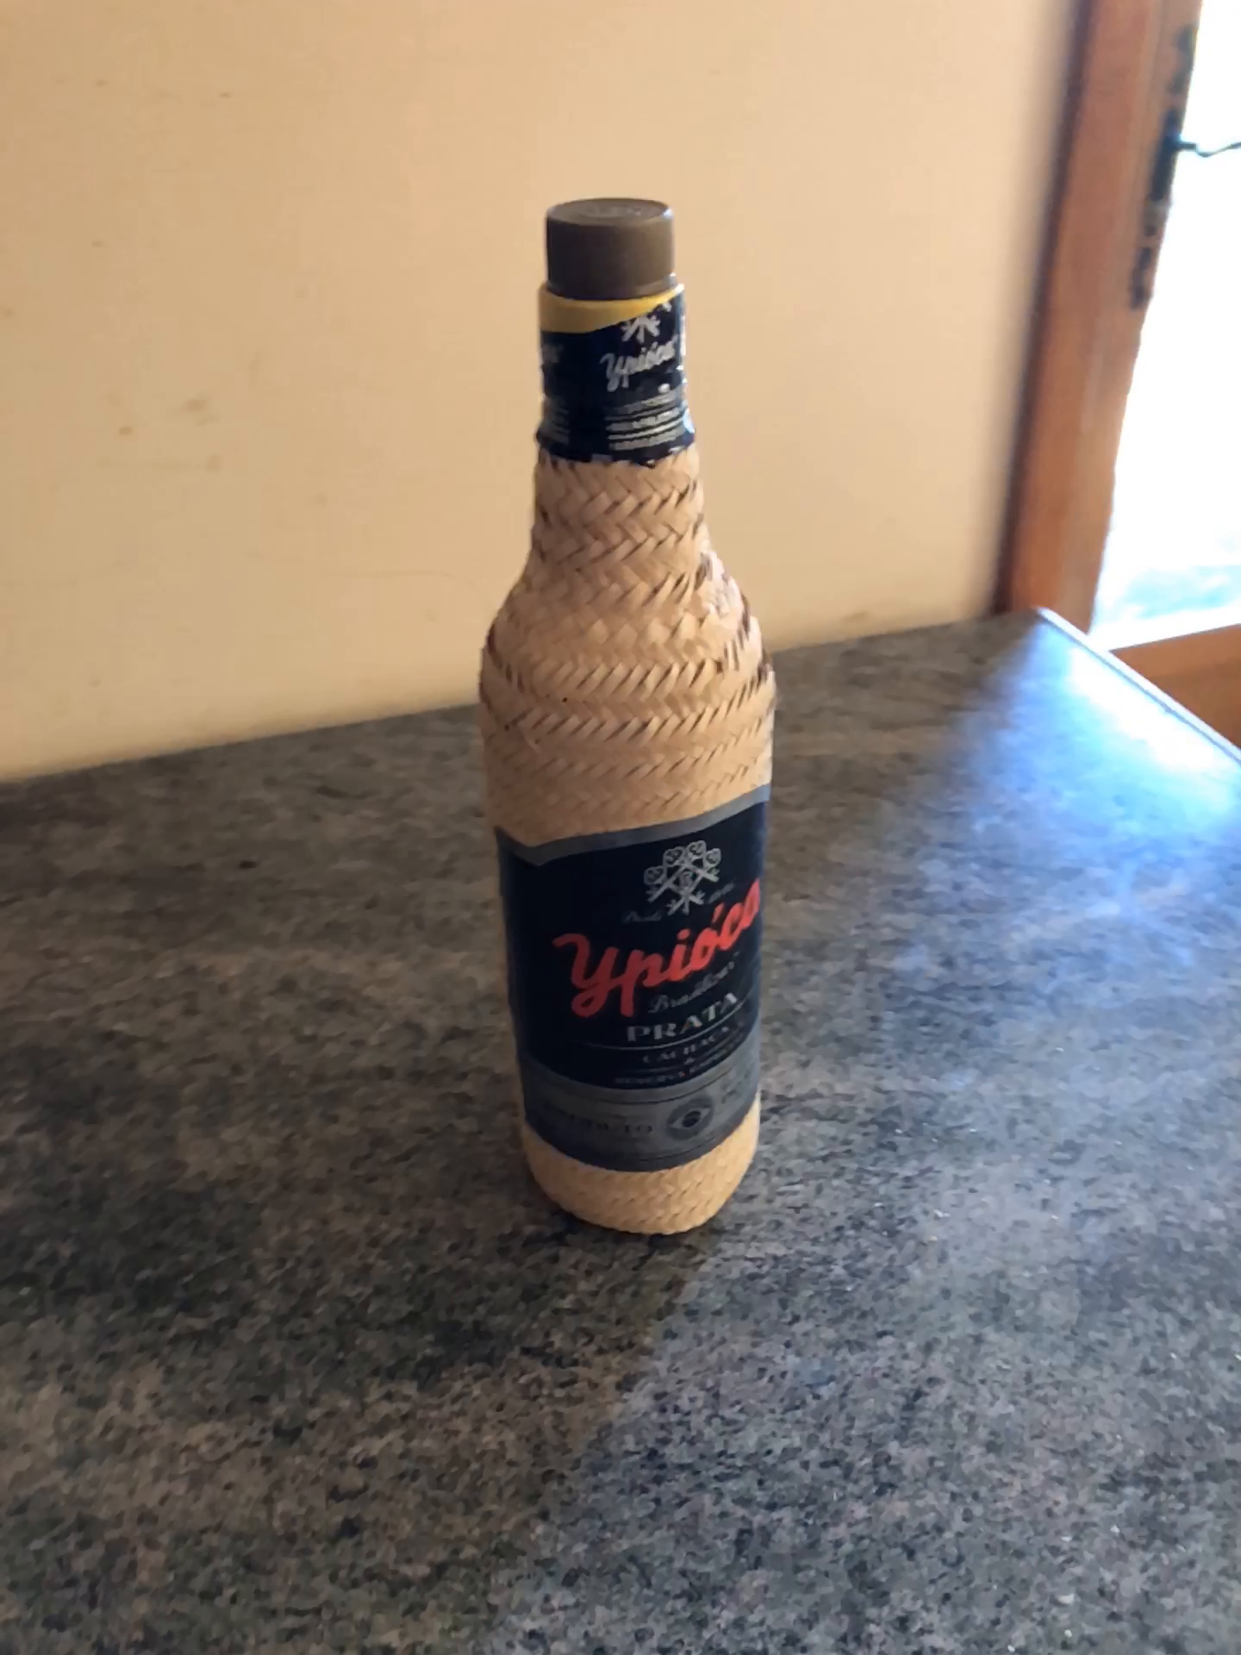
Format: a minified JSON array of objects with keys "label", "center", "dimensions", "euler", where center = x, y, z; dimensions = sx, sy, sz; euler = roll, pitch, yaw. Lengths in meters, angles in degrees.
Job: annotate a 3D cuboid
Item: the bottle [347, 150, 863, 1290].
[{"label":"bottle","center":[-0.007,-0.016,0.368],"dimensions":[0.090,0.288,0.080],"euler":[-10,33,-16]}]
